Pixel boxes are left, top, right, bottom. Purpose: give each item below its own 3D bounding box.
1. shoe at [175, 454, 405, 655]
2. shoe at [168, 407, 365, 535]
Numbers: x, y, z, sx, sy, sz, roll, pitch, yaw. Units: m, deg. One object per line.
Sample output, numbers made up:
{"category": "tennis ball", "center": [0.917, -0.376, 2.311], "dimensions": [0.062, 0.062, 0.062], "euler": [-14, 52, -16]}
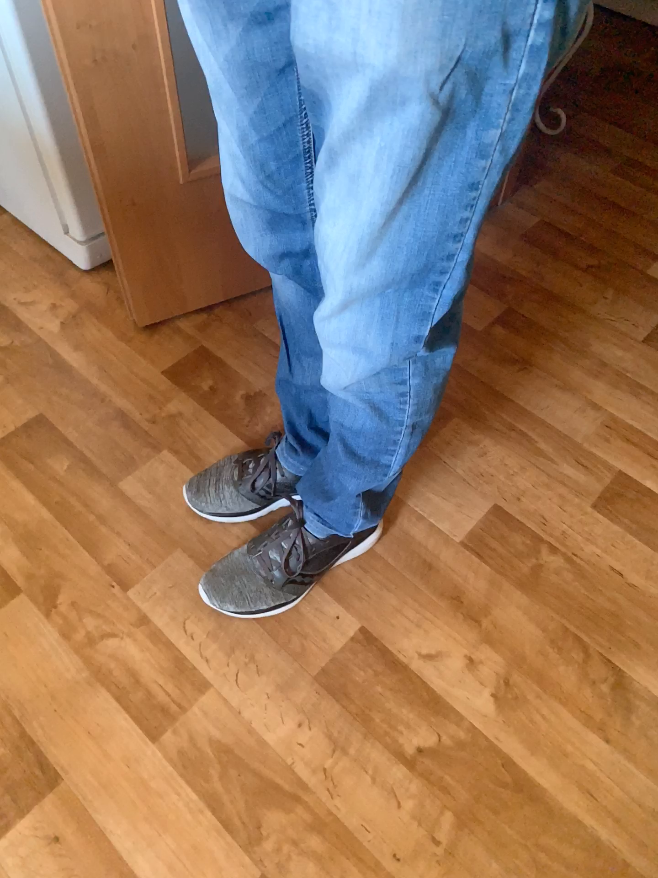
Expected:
{"category": "shoe", "center": [-0.053, 0.160, 0.966], "dimensions": [0.290, 0.100, 0.134], "euler": [-27, 59, -21]}
{"category": "shoe", "center": [-0.098, 0.048, 1.046], "dimensions": [0.280, 0.100, 0.124], "euler": [-8, 54, -9]}
